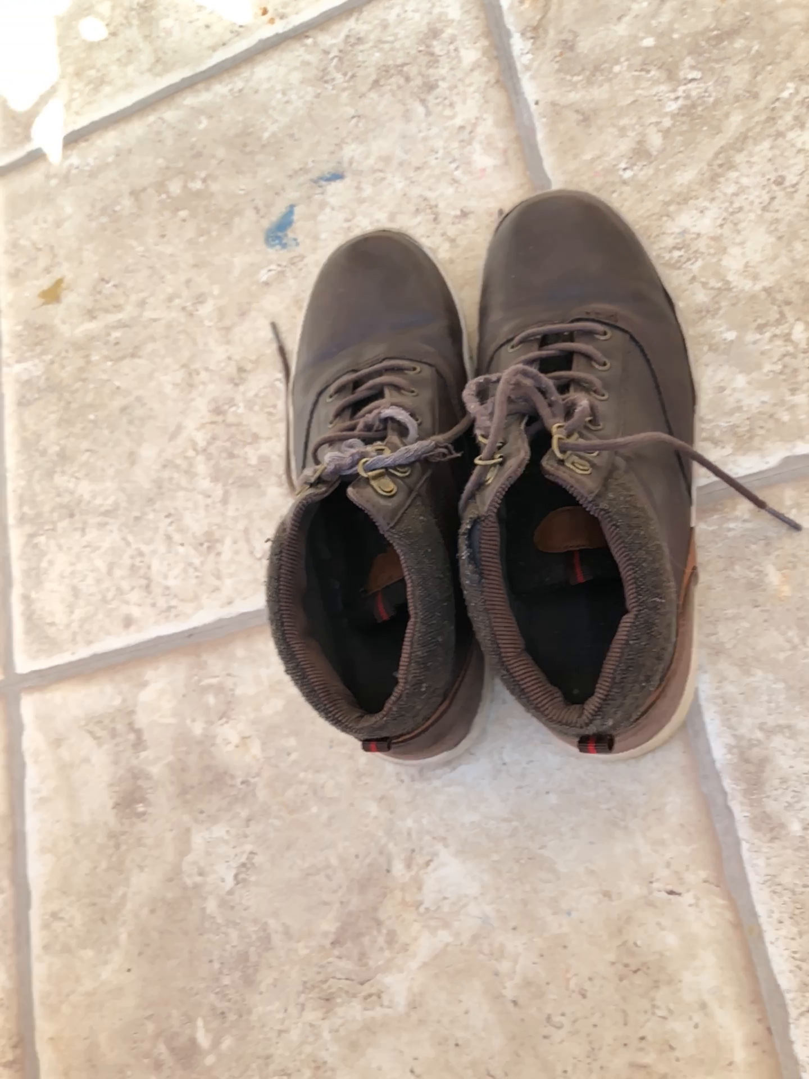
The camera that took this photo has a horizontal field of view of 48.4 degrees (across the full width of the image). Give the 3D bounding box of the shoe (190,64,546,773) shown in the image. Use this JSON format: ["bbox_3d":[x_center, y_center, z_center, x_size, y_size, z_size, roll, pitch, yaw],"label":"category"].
[{"bbox_3d":[-0.017,-0.043,0.447,0.110,0.150,0.301,-10,72,18],"label":"shoe"}]

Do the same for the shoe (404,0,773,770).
[{"bbox_3d":[0.084,-0.054,0.408,0.110,0.150,0.301,-8,73,19],"label":"shoe"}]
